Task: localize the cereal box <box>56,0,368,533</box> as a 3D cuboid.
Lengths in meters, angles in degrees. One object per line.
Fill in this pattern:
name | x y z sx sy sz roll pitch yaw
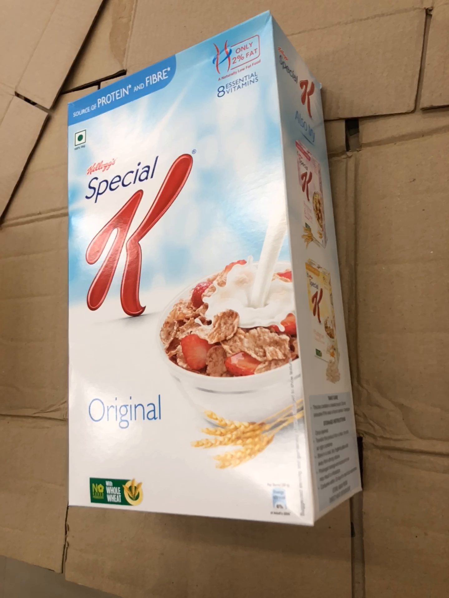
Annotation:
cereal box | -0.016 -0.015 0.354 0.180 0.100 0.300 -9 78 29
